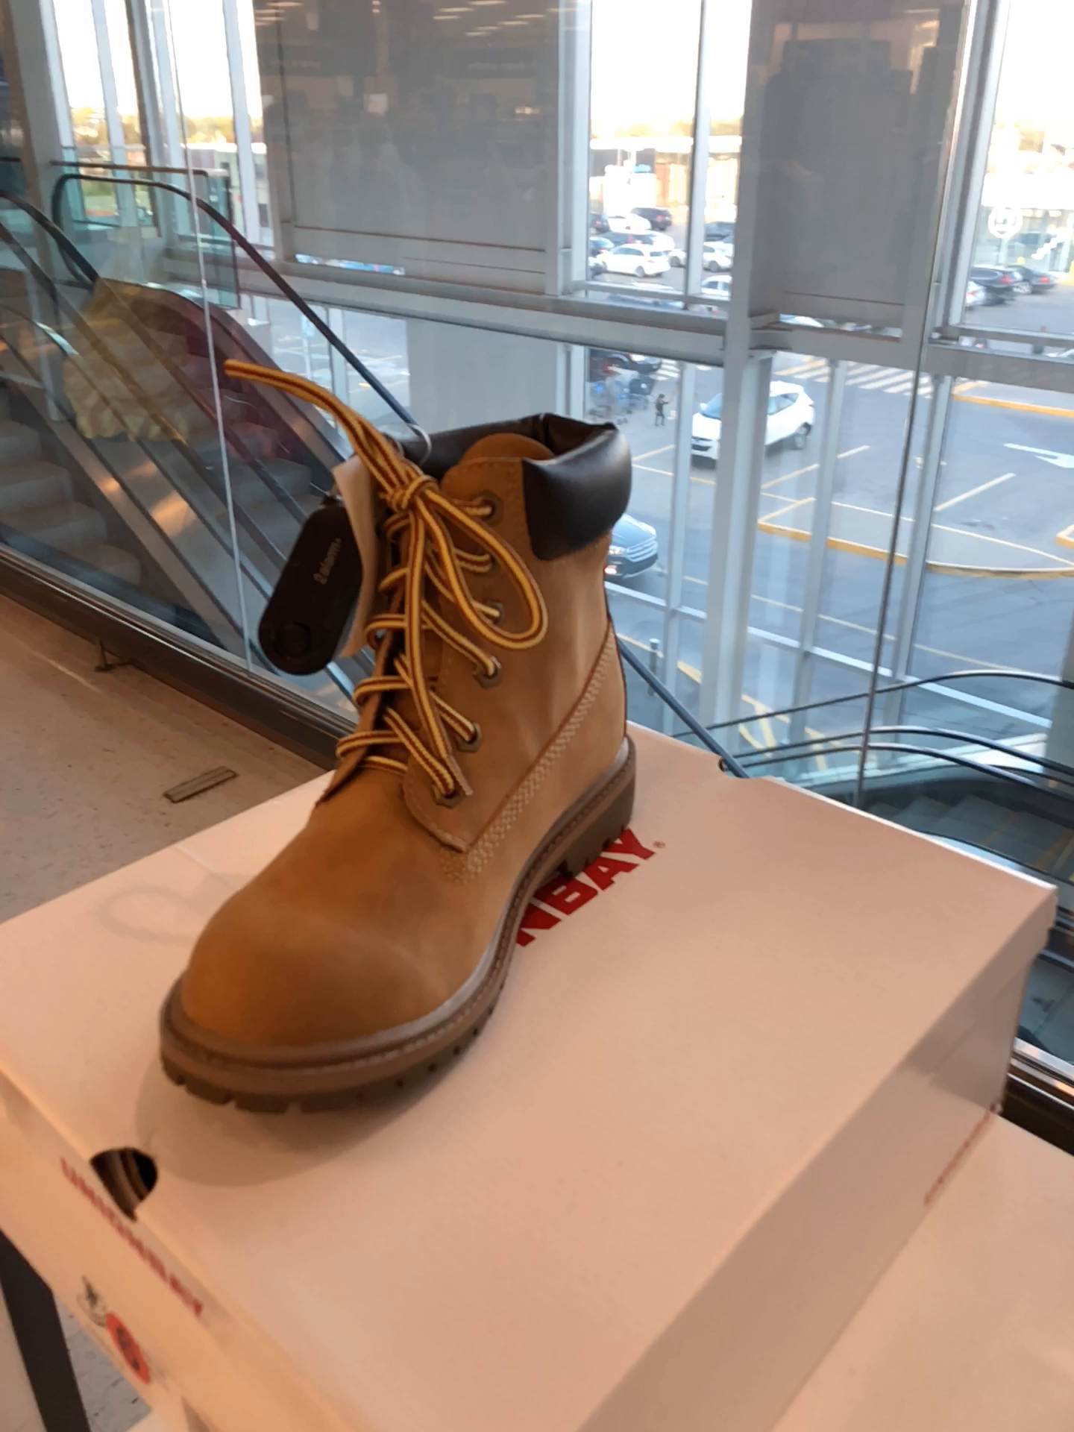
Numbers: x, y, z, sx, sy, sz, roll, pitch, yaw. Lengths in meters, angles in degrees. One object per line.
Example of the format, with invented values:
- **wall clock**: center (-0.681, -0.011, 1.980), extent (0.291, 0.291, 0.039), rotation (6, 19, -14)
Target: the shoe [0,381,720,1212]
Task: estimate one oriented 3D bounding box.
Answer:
- **shoe**: center (-0.036, -0.001, 0.397), extent (0.107, 0.169, 0.241), rotation (13, 30, 25)
